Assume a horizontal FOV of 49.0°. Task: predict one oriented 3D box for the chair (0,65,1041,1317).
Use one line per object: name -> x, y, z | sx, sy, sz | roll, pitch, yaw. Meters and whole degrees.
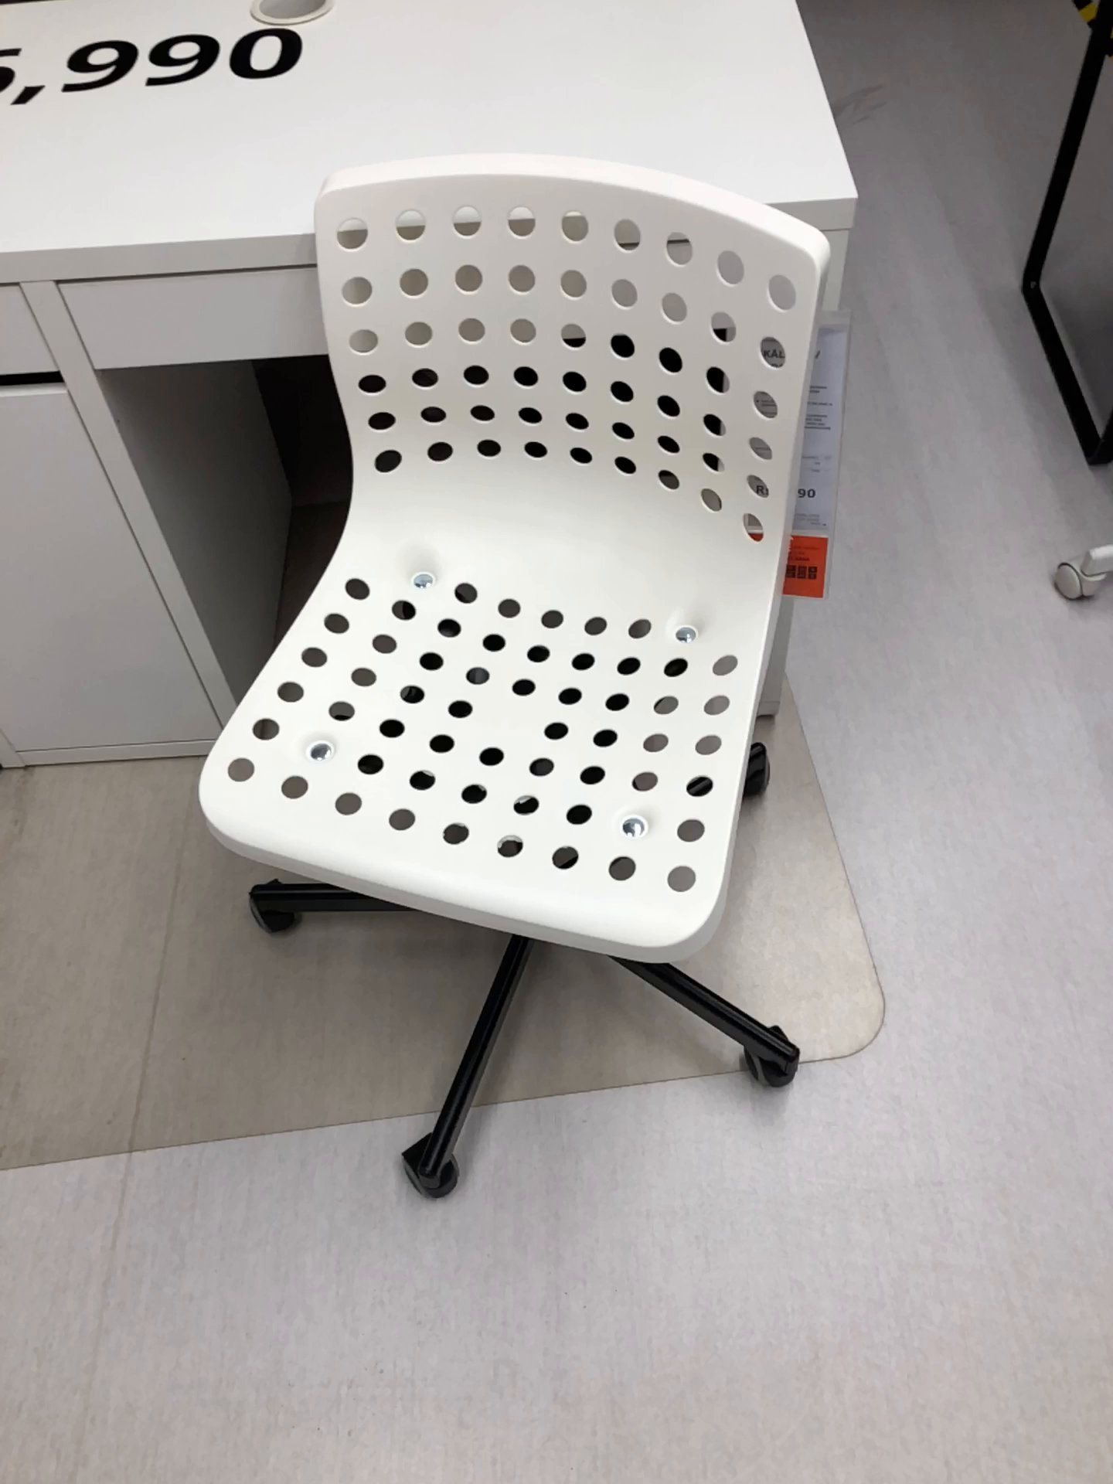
chair -> -0.051, -0.029, 1.078 | 0.671, 0.746, 0.653 | 14, 54, 13
